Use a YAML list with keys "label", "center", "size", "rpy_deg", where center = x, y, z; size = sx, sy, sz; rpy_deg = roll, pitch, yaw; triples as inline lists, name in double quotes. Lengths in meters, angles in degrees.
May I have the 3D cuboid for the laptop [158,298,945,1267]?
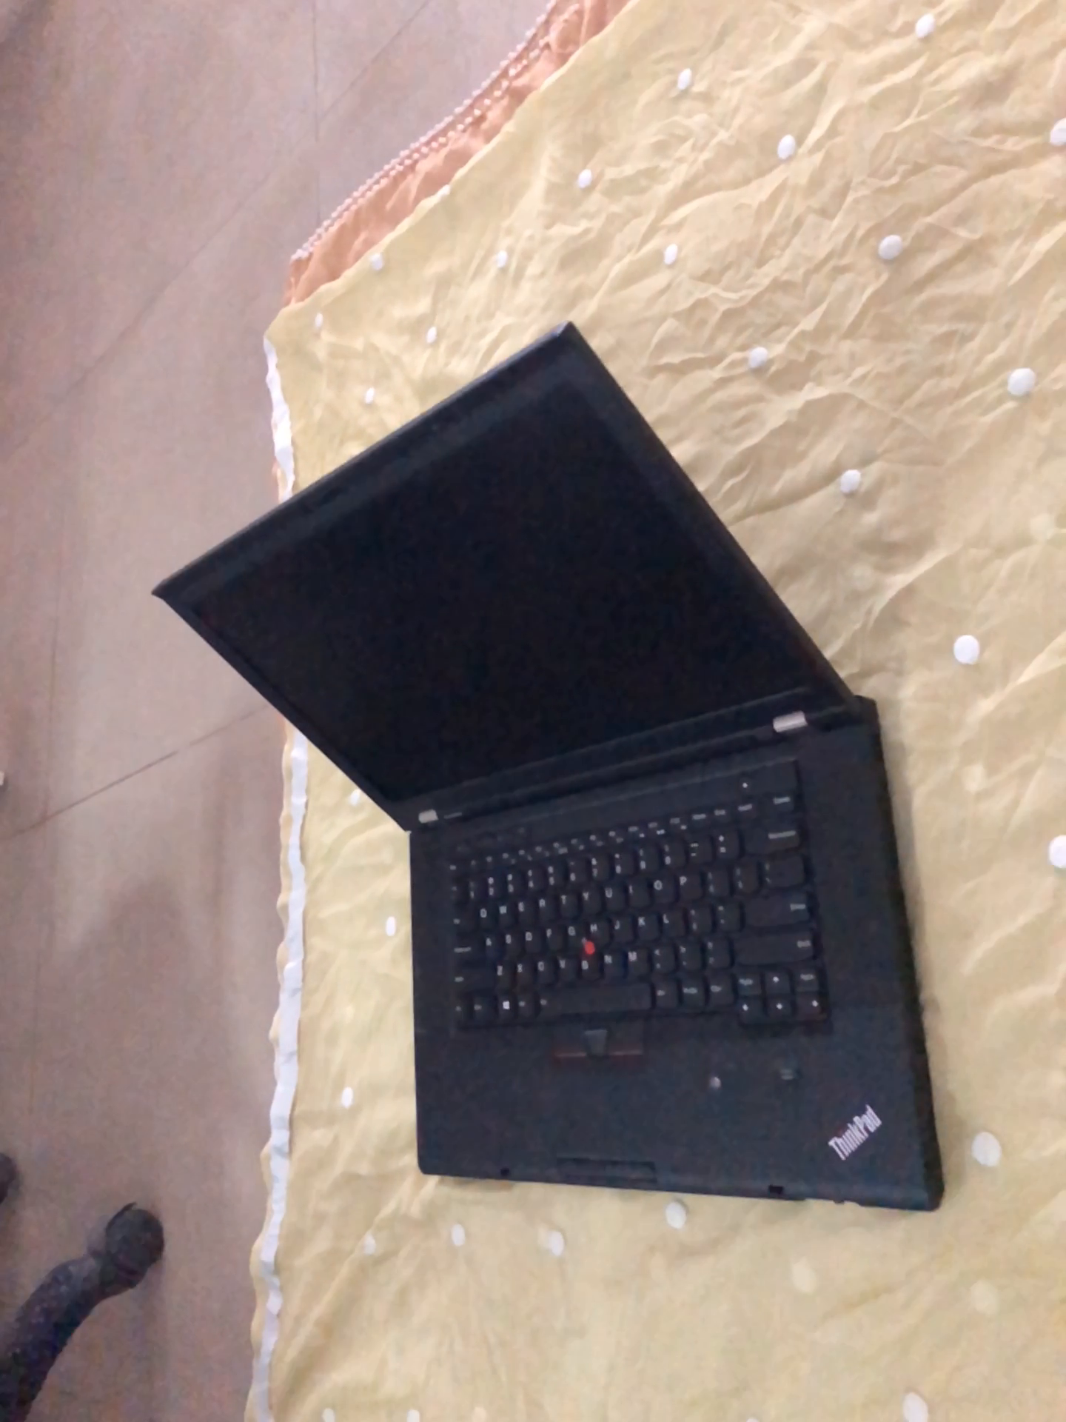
- label: "laptop"
  center: [-0.026, 0.066, 0.641]
  size: [0.365, 0.191, 0.381]
  rpy_deg: [-18, 71, 44]
